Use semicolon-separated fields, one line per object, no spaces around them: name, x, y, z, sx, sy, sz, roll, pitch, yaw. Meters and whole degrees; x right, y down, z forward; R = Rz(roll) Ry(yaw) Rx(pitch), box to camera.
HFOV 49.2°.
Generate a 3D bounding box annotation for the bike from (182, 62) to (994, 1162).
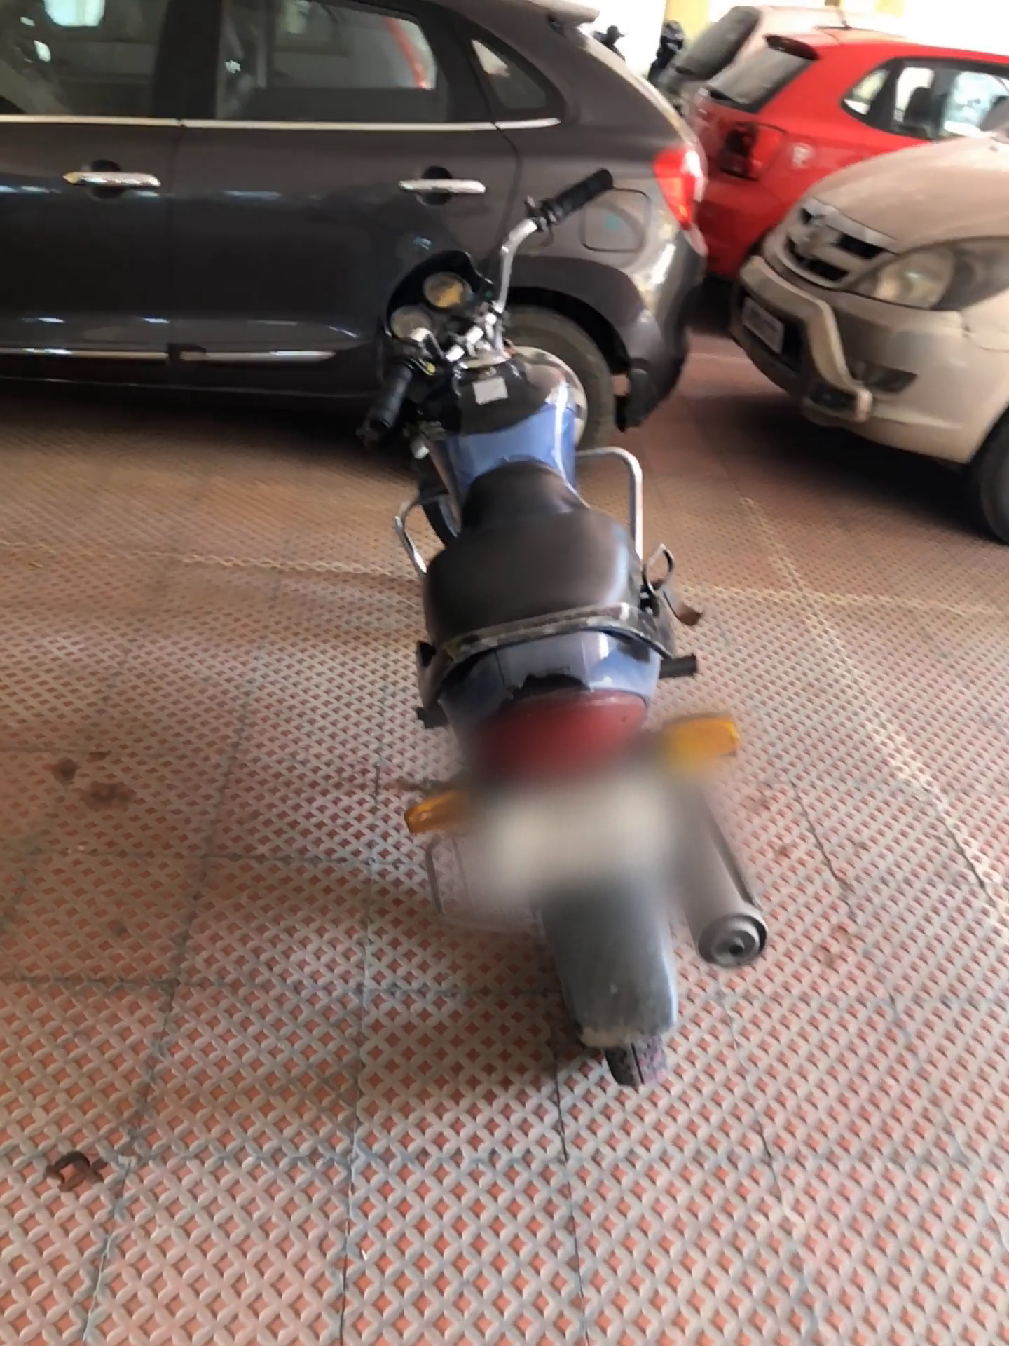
bike;-0.152;-0.290;1.916;0.733;1.072;1.698;-2;35;-14
